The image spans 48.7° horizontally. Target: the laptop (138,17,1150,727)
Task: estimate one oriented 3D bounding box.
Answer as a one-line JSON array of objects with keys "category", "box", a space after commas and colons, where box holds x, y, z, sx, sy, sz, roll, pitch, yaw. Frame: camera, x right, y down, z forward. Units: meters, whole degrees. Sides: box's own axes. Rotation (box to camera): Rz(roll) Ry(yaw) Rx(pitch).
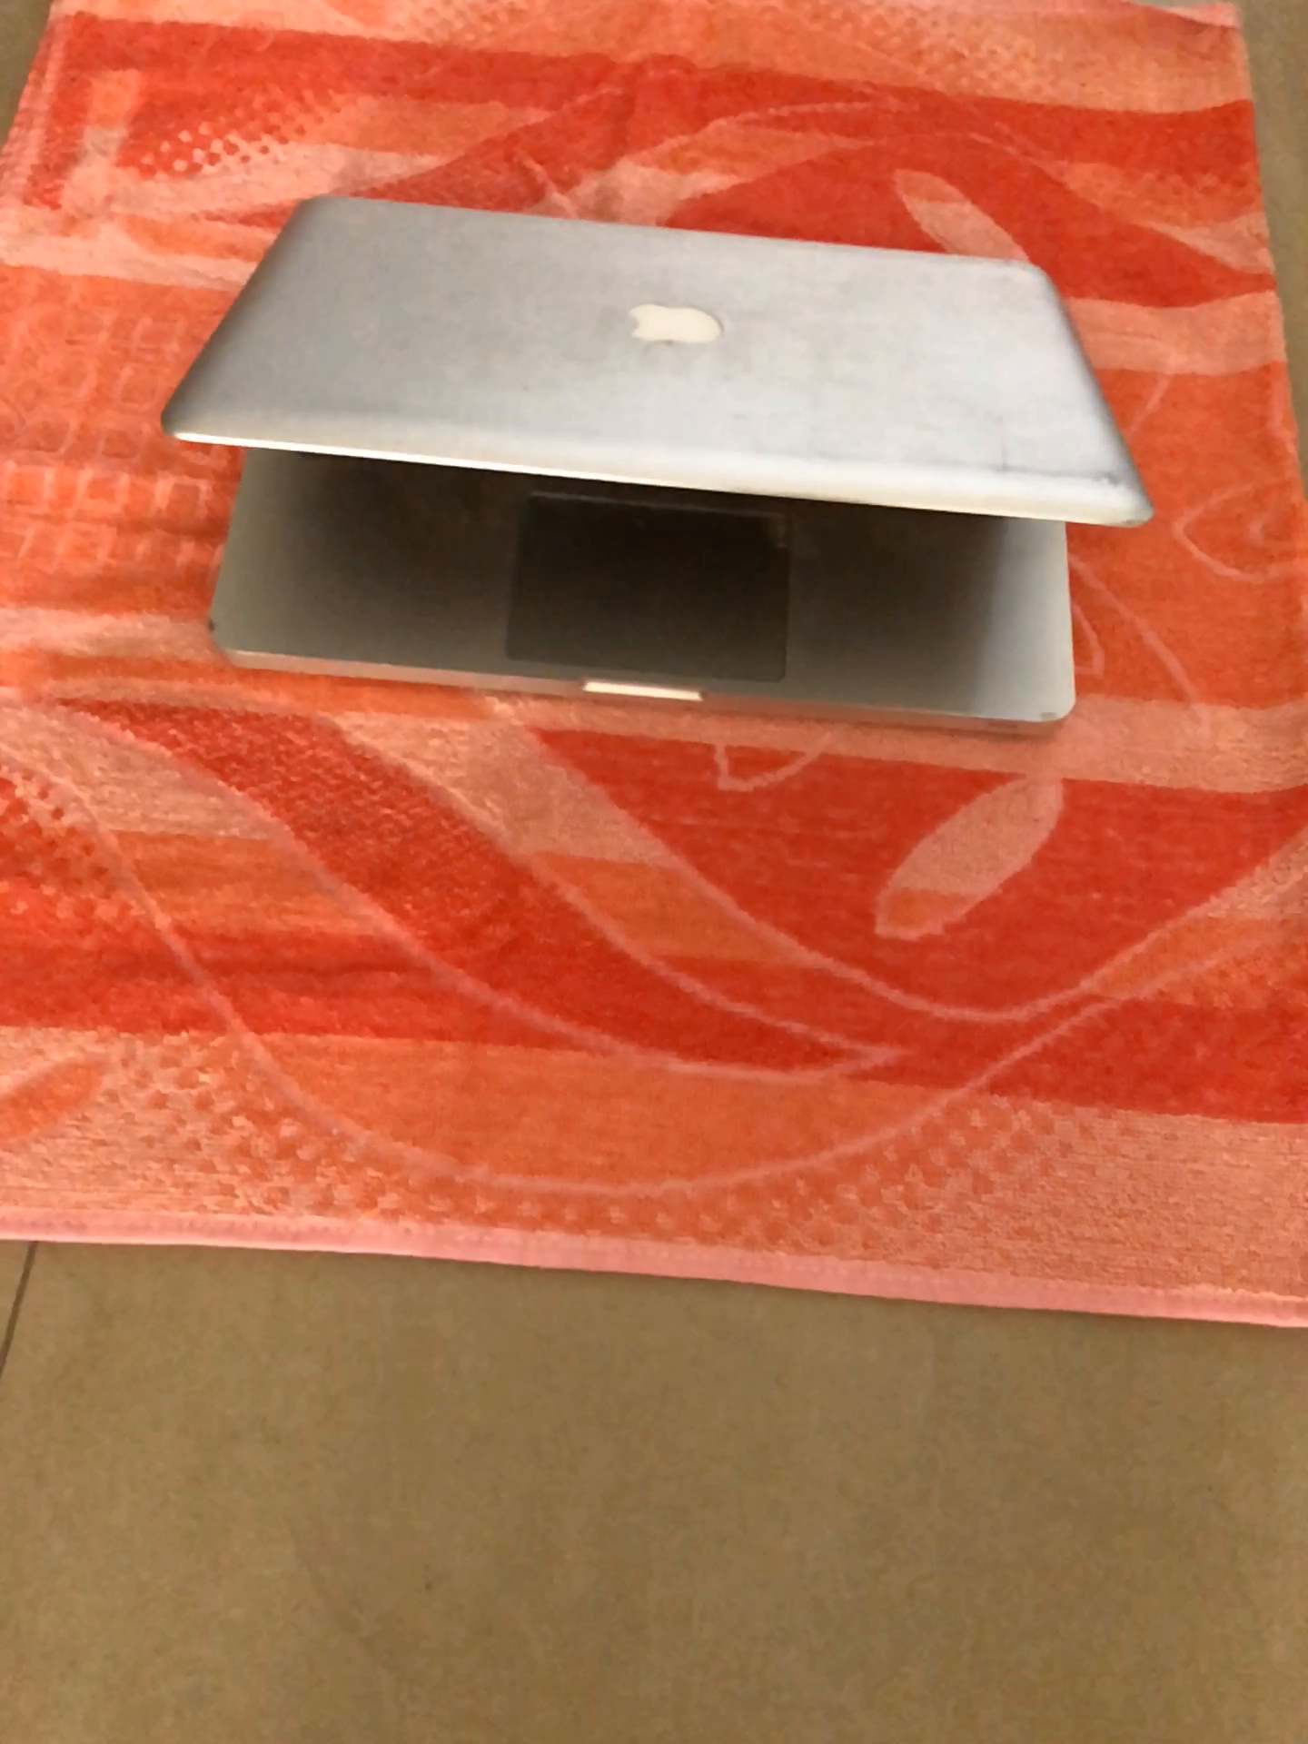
[{"category": "laptop", "box": [0.005, -0.183, 0.529, 0.310, 0.086, 0.223, 5, 65, -2]}]
